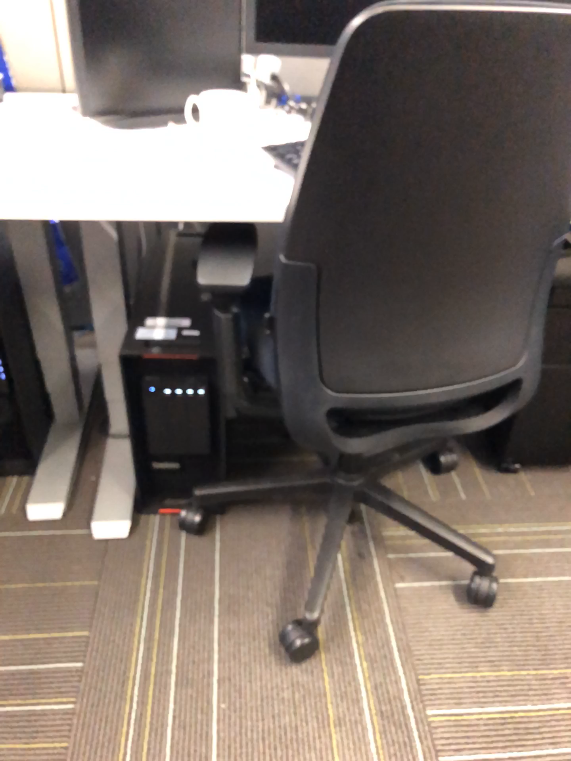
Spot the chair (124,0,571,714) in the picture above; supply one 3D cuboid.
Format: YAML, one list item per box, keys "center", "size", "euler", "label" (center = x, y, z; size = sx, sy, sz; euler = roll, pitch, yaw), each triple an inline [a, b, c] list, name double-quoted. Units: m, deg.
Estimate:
- center: [0.143, -0.107, 1.151]
  size: [0.710, 1.044, 0.724]
  euler: [-6, 36, -13]
  label: "chair"
